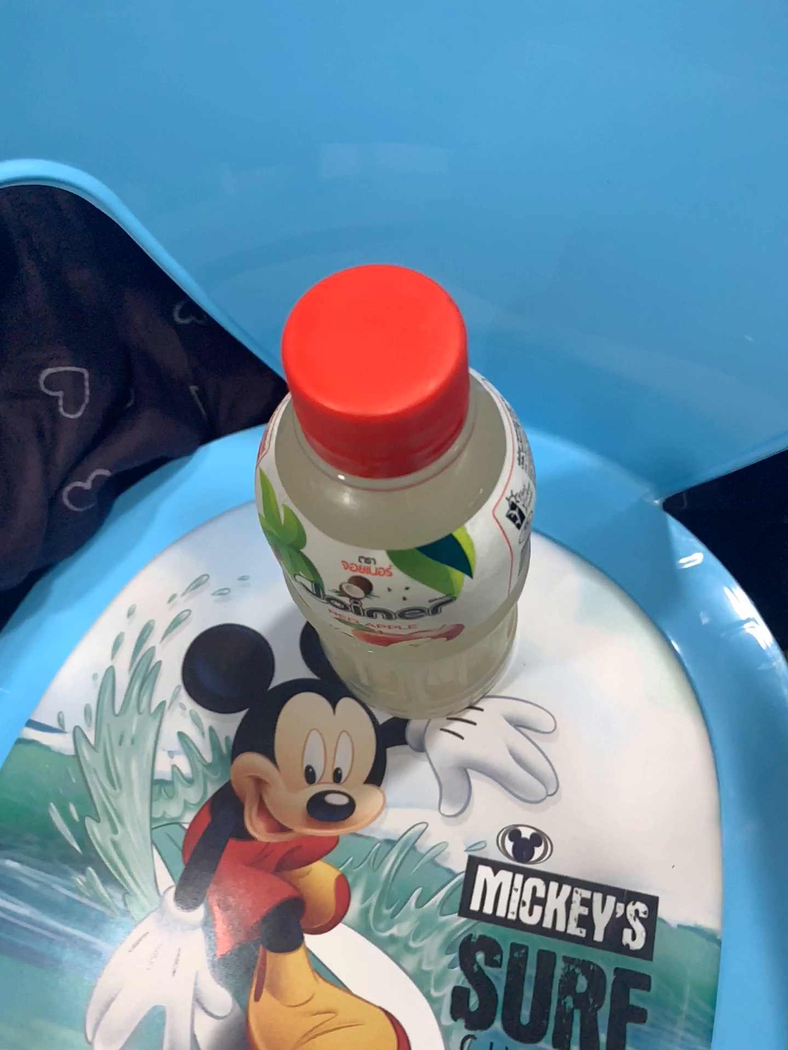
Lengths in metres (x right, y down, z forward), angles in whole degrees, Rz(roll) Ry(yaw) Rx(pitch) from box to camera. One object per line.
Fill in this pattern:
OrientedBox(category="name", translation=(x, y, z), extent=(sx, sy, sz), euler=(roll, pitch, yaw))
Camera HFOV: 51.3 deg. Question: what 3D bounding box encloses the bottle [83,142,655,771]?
OrientedBox(category="bottle", translation=(0.004, 0.002, 0.186), extent=(0.070, 0.150, 0.060), euler=(12, 64, 11))
